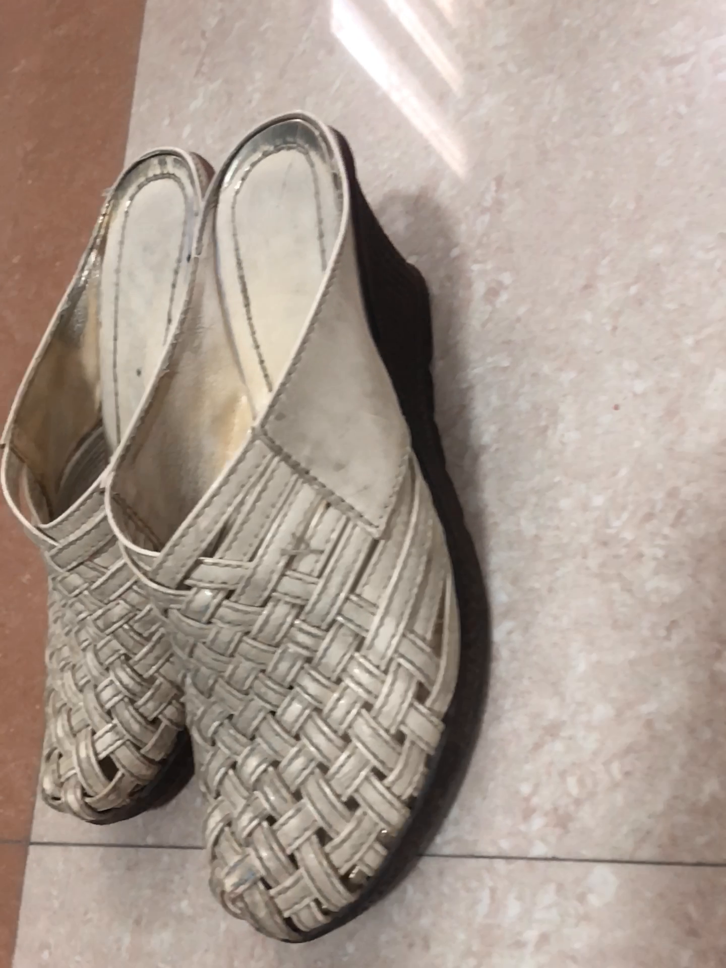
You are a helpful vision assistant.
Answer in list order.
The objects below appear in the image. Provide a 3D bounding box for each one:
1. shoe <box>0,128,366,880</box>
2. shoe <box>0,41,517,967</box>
[{"bbox_3d":[-0.088,0.006,0.296,0.100,0.084,0.225,3,74,40],"label":"shoe"},{"bbox_3d":[-0.023,0.009,0.236,0.100,0.084,0.221,-9,67,36],"label":"shoe"}]
